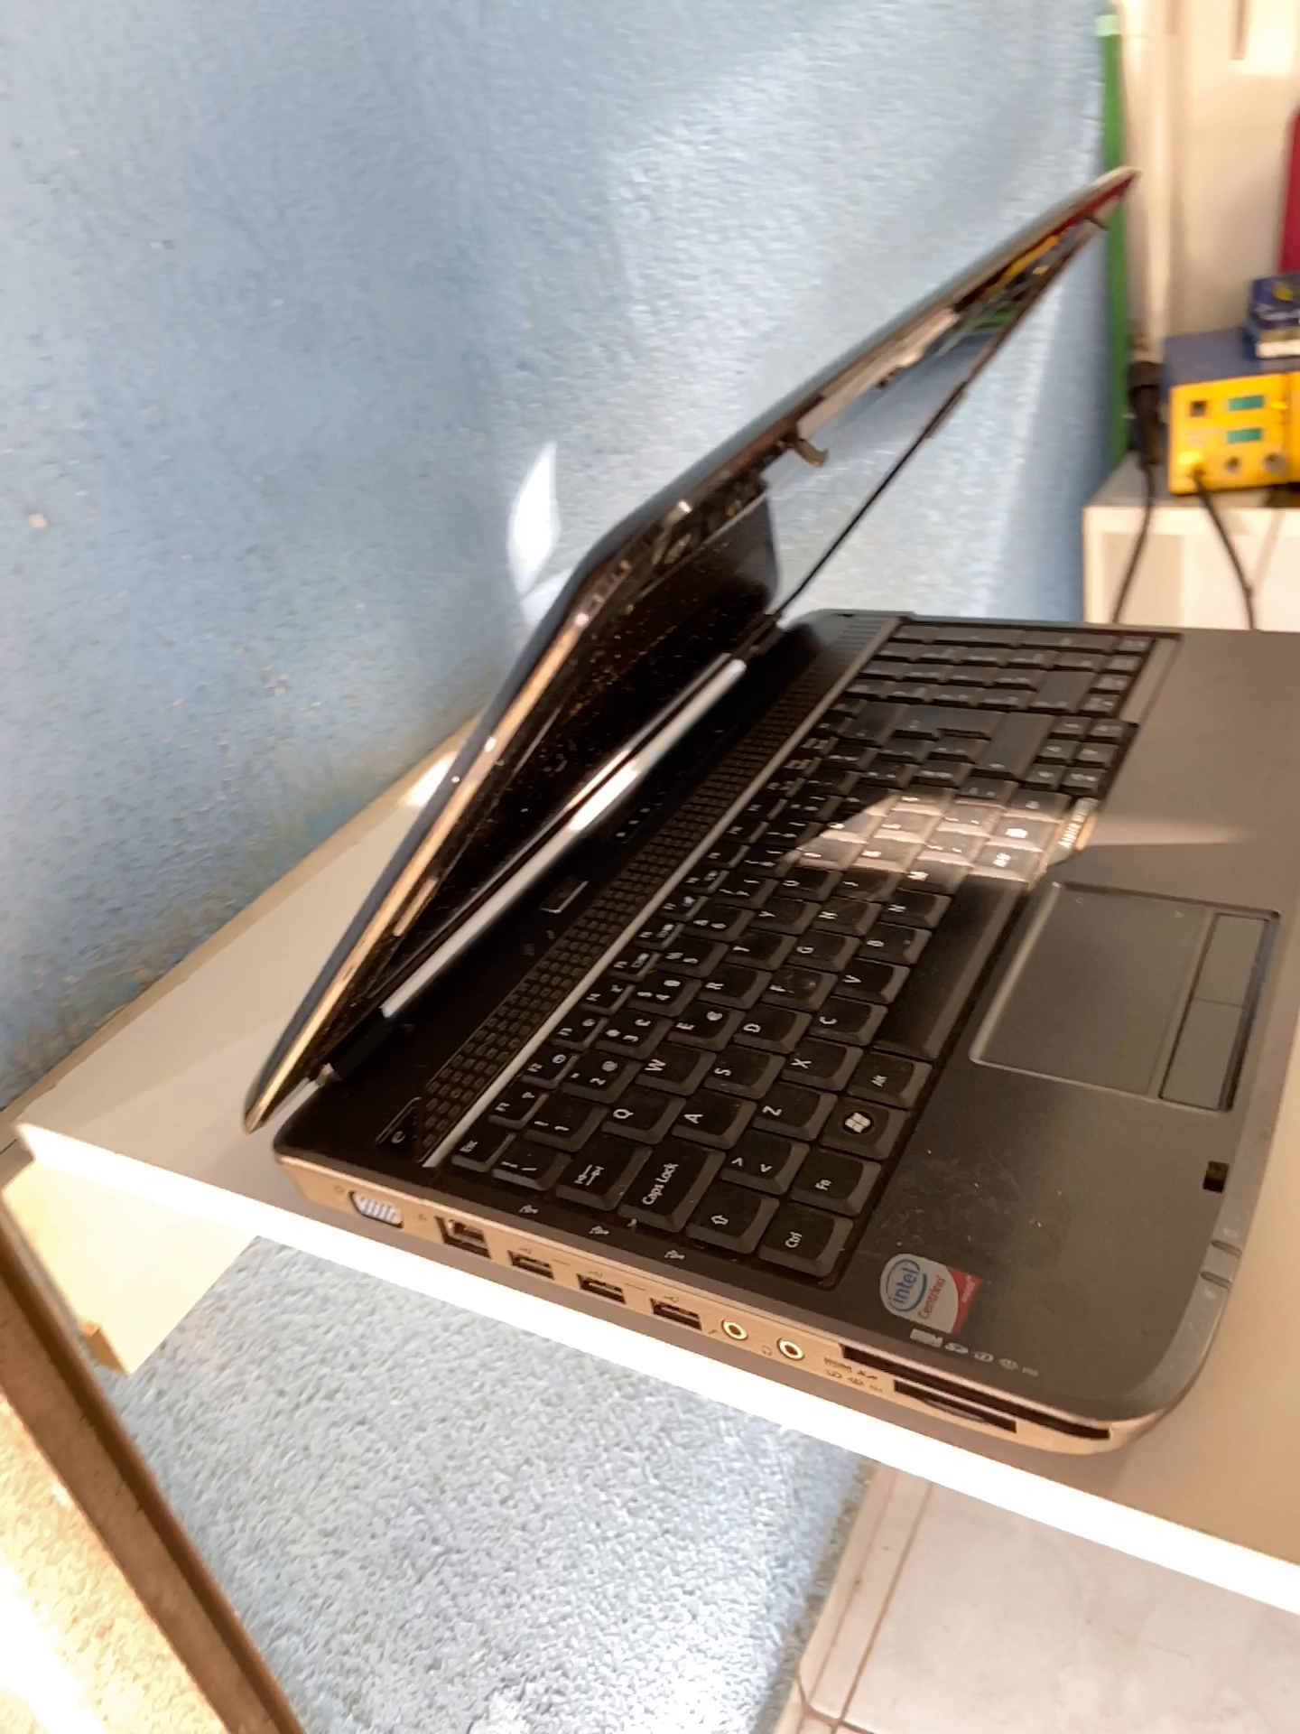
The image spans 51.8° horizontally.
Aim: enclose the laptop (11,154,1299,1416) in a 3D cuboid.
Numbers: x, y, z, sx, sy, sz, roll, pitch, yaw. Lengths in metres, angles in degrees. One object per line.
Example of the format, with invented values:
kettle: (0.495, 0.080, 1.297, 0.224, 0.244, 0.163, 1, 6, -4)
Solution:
laptop: (0.064, -0.080, 0.412, 0.235, 0.174, 0.380, 6, 34, 29)
